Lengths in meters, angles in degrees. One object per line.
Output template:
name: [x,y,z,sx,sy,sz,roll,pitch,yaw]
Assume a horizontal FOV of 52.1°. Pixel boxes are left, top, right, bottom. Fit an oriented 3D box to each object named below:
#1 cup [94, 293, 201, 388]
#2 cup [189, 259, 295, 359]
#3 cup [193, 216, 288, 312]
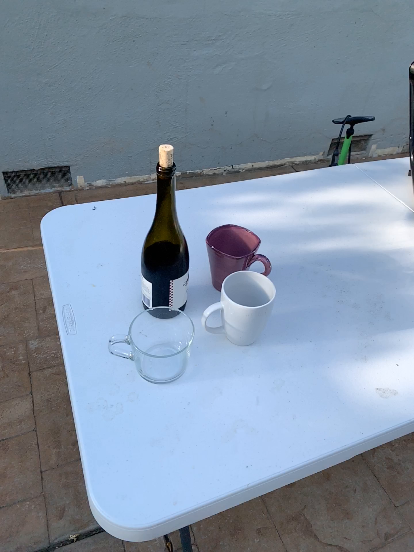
cup: [-0.088,0.099,0.662,0.140,0.089,0.090,9,40,5]
cup: [0.054,0.053,0.705,0.140,0.099,0.090,-14,44,-21]
cup: [0.061,-0.027,0.815,0.140,0.099,0.100,32,47,28]
